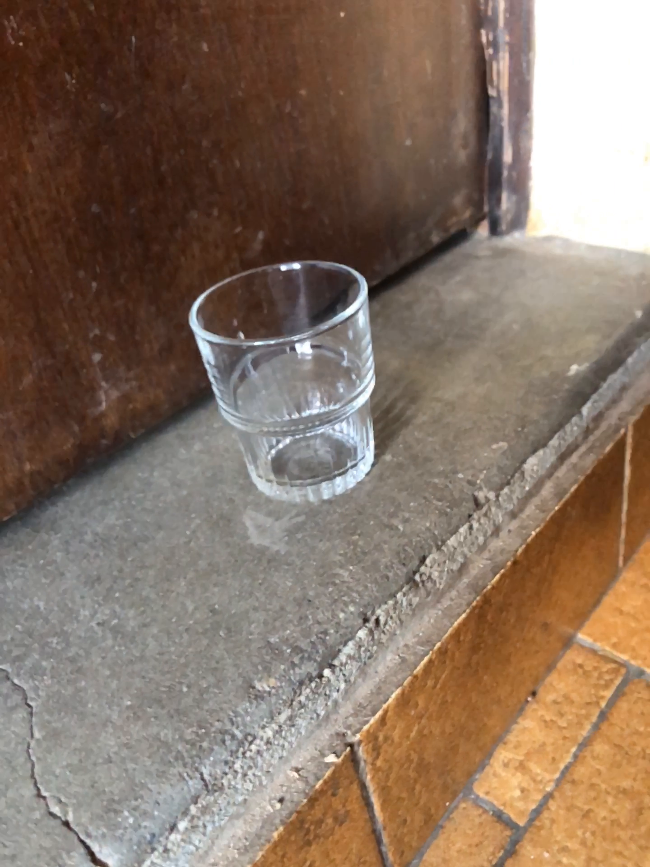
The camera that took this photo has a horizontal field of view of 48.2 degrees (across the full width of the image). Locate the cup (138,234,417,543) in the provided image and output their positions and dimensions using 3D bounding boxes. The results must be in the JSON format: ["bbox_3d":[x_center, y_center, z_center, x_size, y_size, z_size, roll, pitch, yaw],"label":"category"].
[{"bbox_3d":[-0.017,-0.021,0.285,0.070,0.080,0.070,-7,35,5],"label":"cup"}]
